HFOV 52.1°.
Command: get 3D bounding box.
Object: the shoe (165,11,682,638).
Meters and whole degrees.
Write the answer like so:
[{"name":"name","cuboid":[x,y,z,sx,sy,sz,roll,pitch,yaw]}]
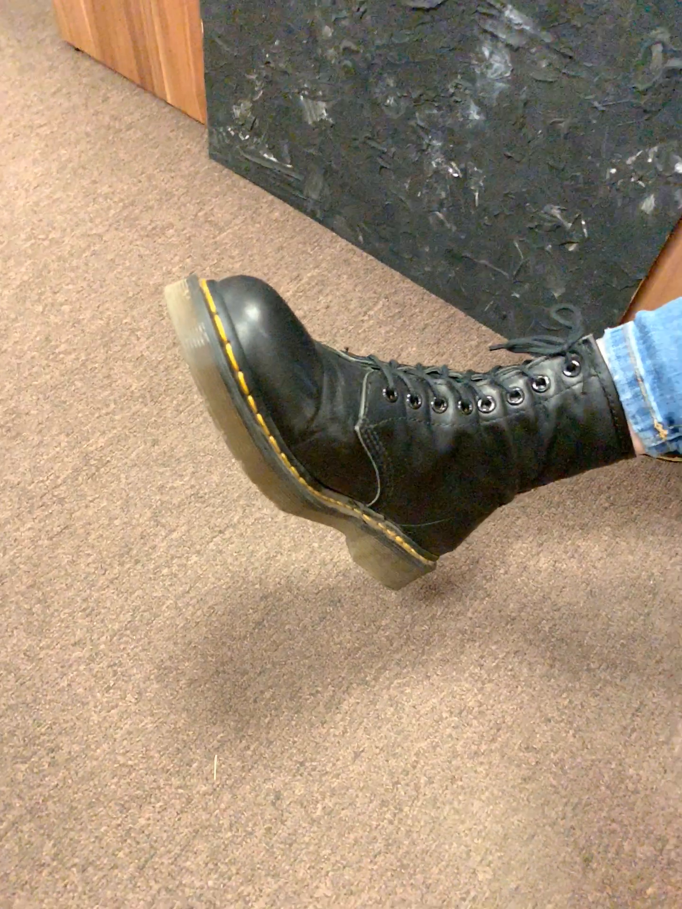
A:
[{"name":"shoe","cuboid":[0.105,-0.013,0.434,0.230,0.369,0.120,-25,60,13]}]
